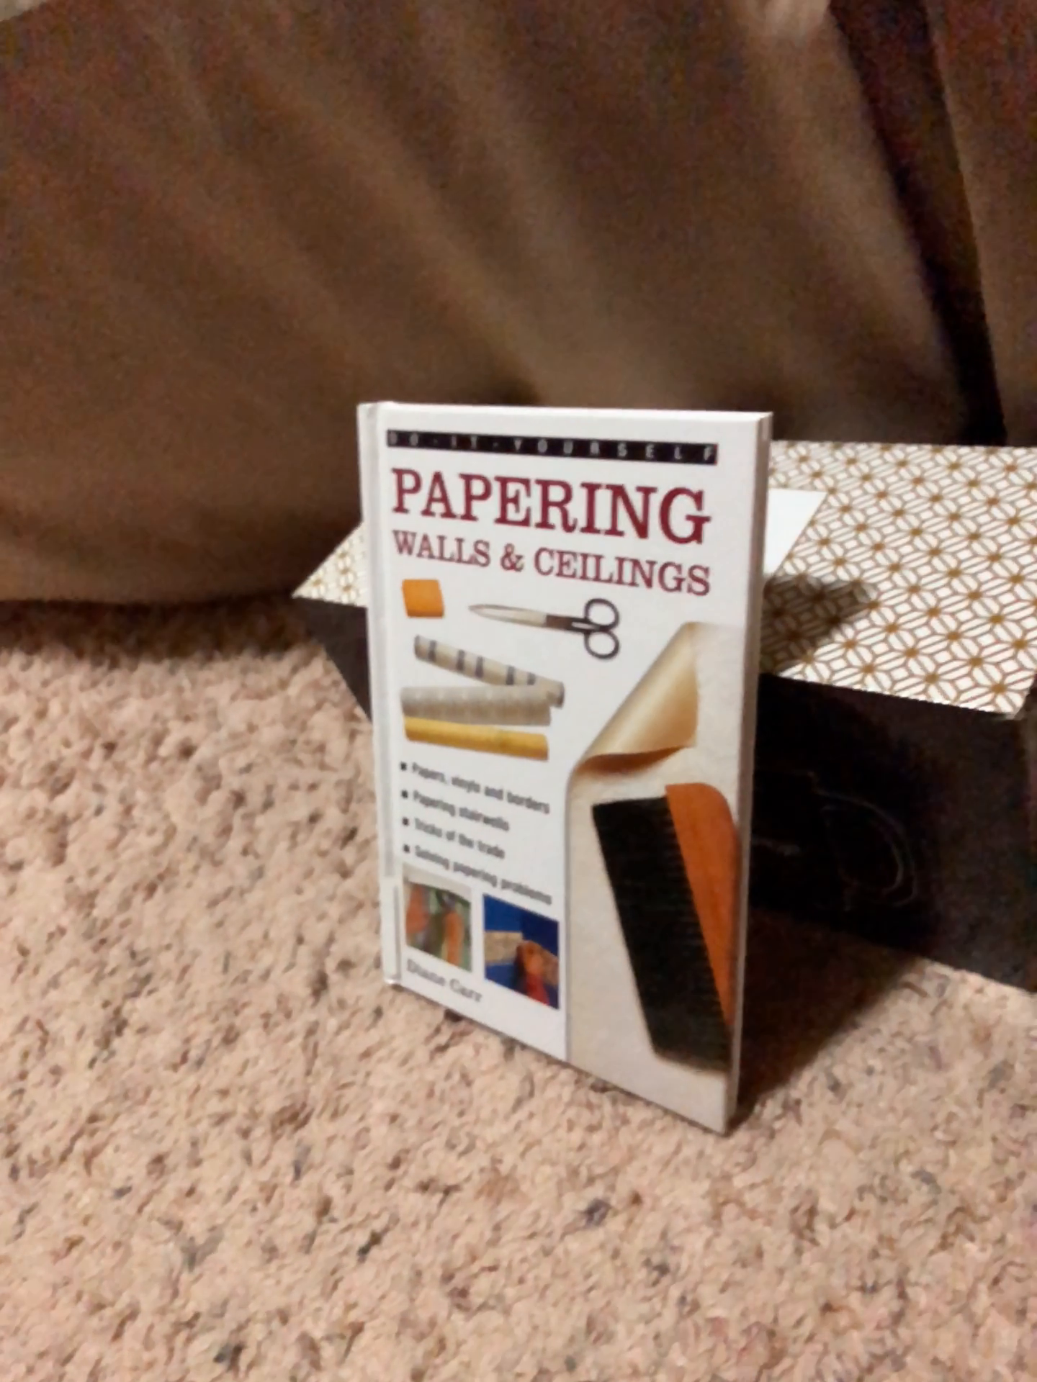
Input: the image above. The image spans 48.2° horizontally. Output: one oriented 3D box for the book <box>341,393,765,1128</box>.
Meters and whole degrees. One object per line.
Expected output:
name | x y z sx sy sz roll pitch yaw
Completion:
book | 0.005 0.015 0.360 0.143 0.207 0.015 12 21 39
